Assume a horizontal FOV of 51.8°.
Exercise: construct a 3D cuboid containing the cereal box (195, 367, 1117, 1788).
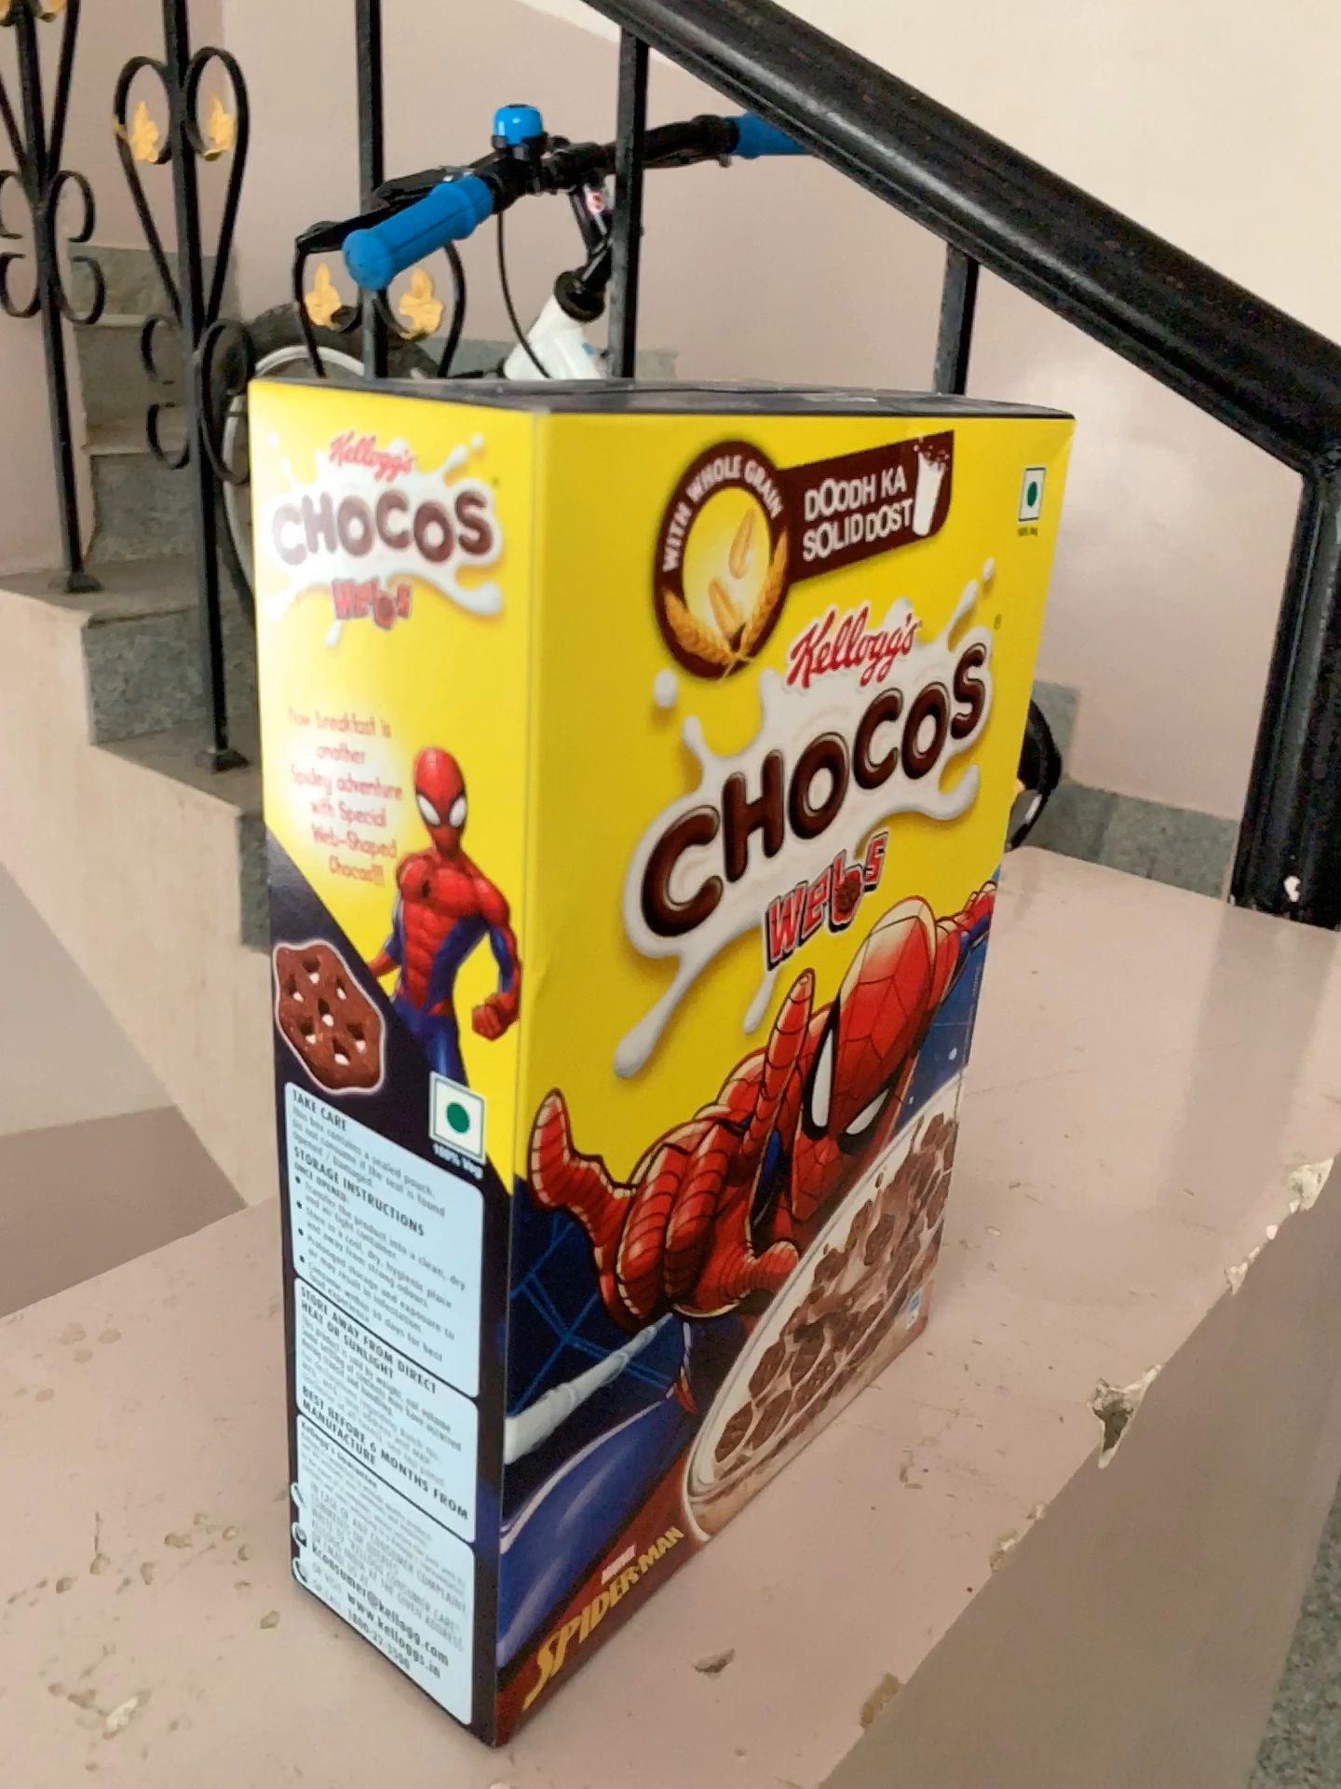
[{"bbox_3d":[0.007,0.022,0.304,0.070,0.248,0.191,19,26,34],"label":"cereal box"}]
